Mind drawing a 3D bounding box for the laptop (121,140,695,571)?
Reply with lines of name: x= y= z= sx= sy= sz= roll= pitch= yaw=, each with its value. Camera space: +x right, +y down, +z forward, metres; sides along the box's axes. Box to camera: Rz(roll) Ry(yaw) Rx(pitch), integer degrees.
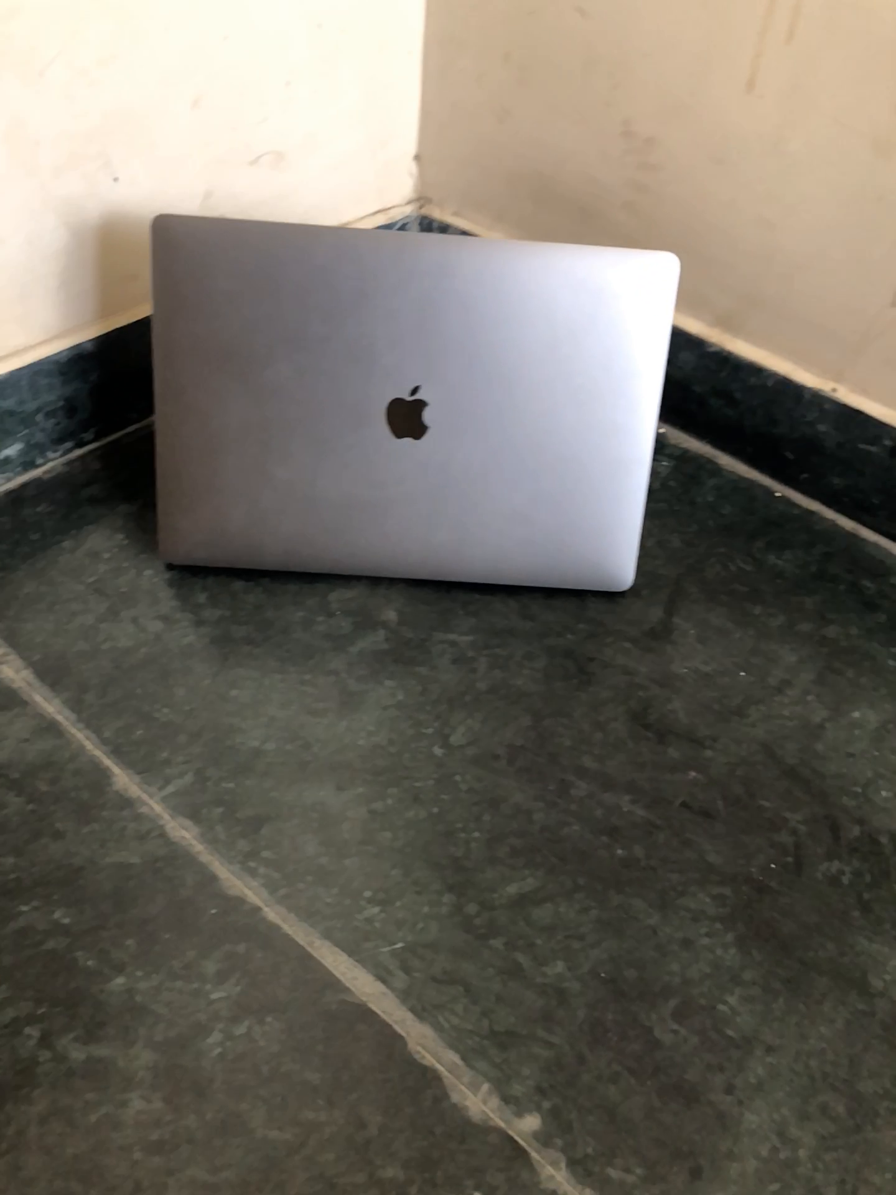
laptop: x=-0.027 y=-0.177 z=0.708 sx=0.329 sy=0.198 sz=0.222 roll=3 pitch=45 yaw=0
